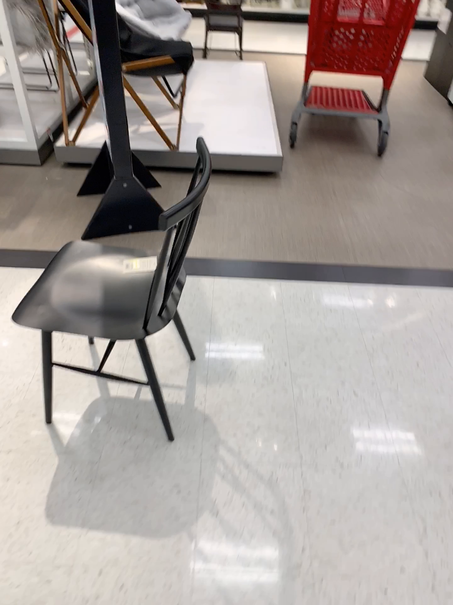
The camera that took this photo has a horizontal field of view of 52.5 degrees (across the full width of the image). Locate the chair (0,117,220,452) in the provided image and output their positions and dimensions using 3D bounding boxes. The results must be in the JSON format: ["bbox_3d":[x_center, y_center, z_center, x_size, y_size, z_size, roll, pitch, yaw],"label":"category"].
[{"bbox_3d":[-0.318,-0.038,1.277,0.520,0.736,0.482,6,40,4],"label":"chair"}]
